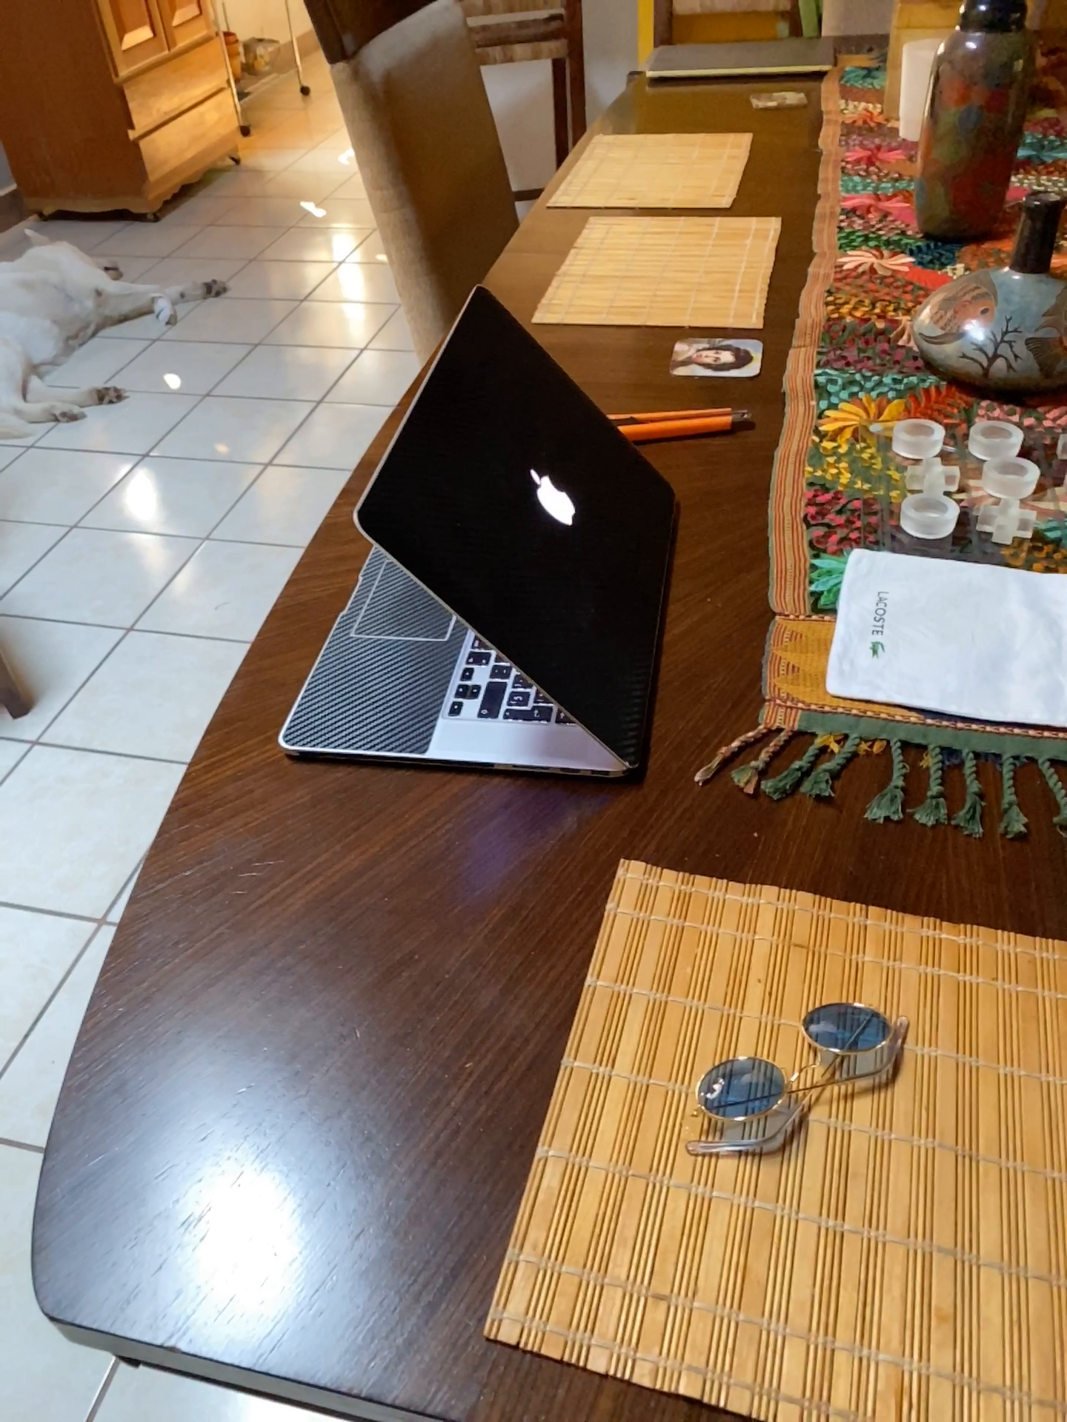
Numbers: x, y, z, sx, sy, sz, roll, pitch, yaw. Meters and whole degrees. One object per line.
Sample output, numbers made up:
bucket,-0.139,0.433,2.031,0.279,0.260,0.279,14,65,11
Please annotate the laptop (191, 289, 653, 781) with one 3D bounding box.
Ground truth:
laptop,-0.046,-0.149,0.791,0.235,0.181,0.356,4,42,9
